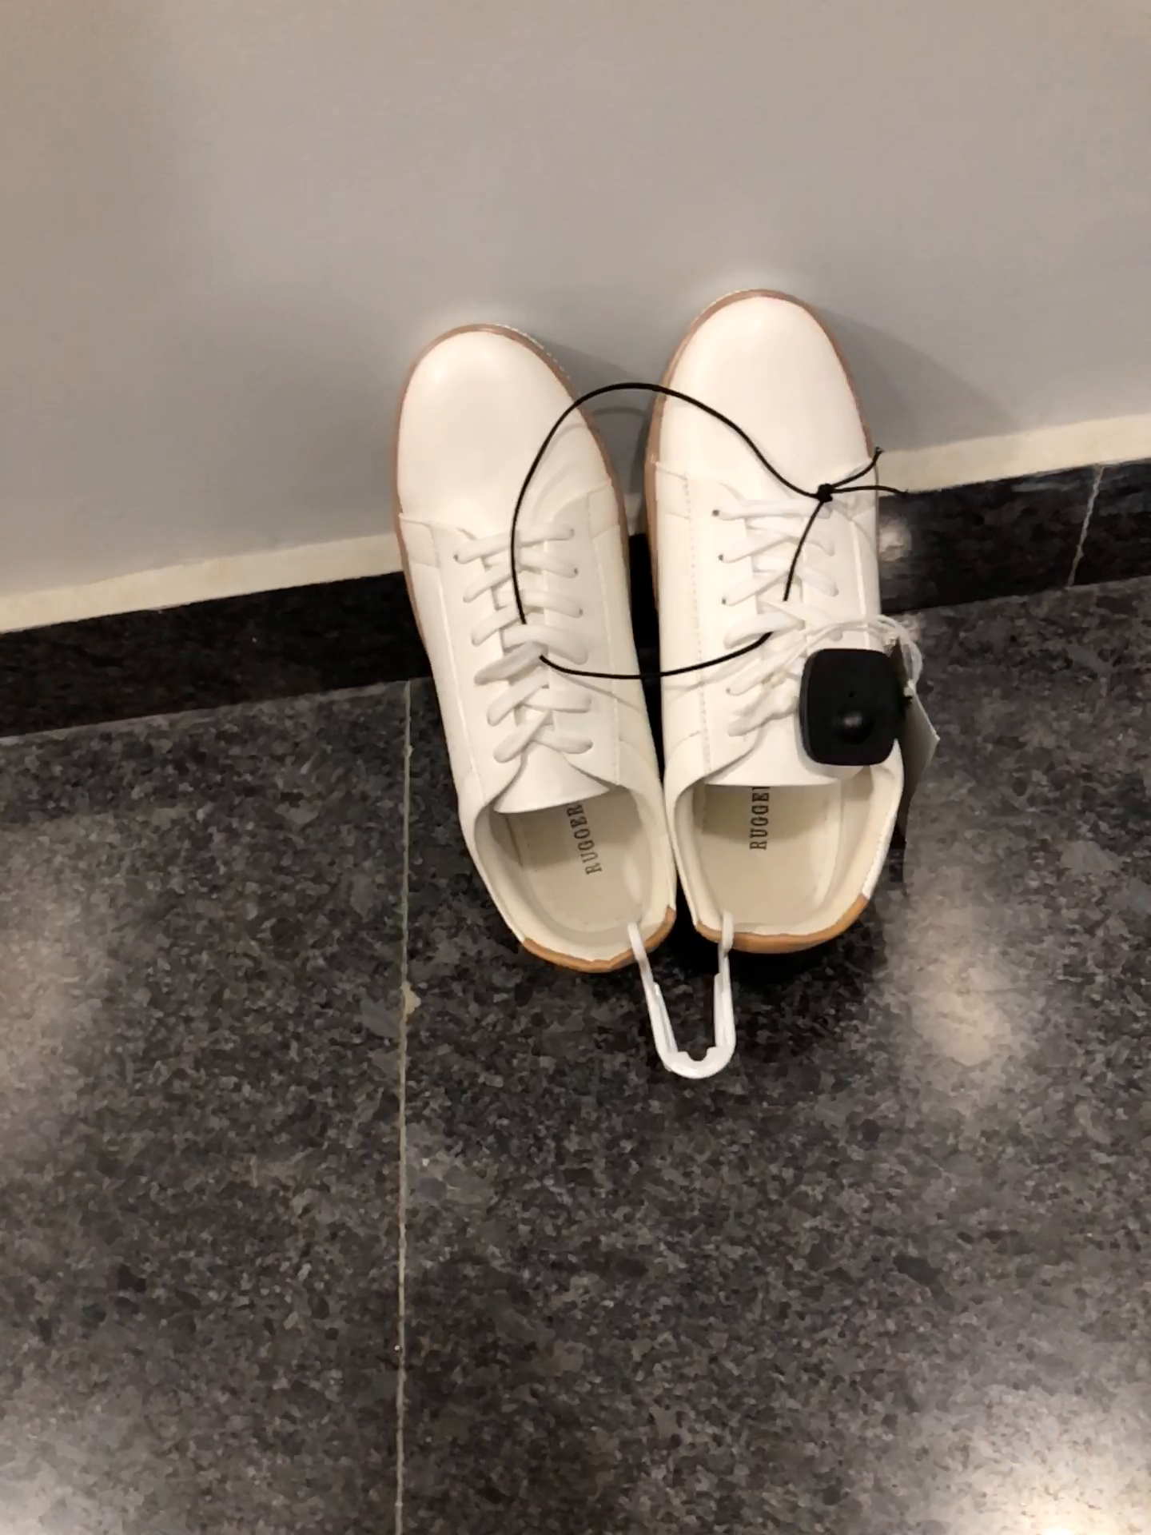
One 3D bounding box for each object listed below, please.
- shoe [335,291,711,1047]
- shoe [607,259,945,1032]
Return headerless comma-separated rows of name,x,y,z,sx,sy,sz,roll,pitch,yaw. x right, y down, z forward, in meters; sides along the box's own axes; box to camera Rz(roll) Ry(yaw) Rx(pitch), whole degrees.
shoe,-0.014,-0.037,0.521,0.101,0.087,0.272,-8,97,7
shoe,0.078,-0.046,0.514,0.107,0.104,0.273,-4,99,3
